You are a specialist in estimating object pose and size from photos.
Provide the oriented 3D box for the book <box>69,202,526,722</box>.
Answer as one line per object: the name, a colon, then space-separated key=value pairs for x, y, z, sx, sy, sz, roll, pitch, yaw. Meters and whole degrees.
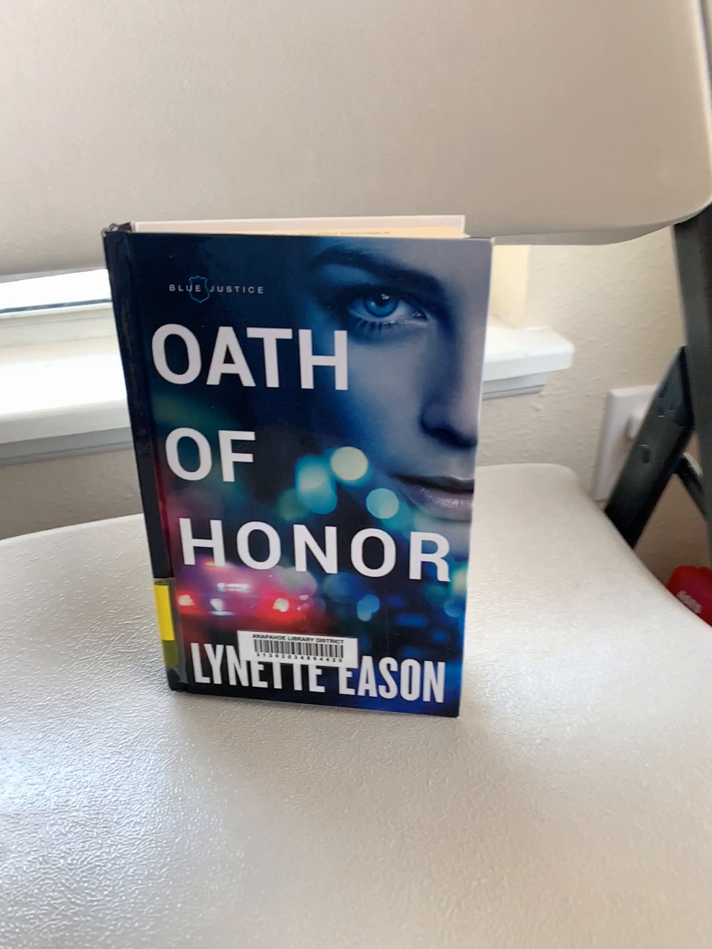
book: x=-0.017 y=0.001 z=0.319 sx=0.154 sy=0.217 sz=0.063 roll=-1 pitch=24 yaw=1
